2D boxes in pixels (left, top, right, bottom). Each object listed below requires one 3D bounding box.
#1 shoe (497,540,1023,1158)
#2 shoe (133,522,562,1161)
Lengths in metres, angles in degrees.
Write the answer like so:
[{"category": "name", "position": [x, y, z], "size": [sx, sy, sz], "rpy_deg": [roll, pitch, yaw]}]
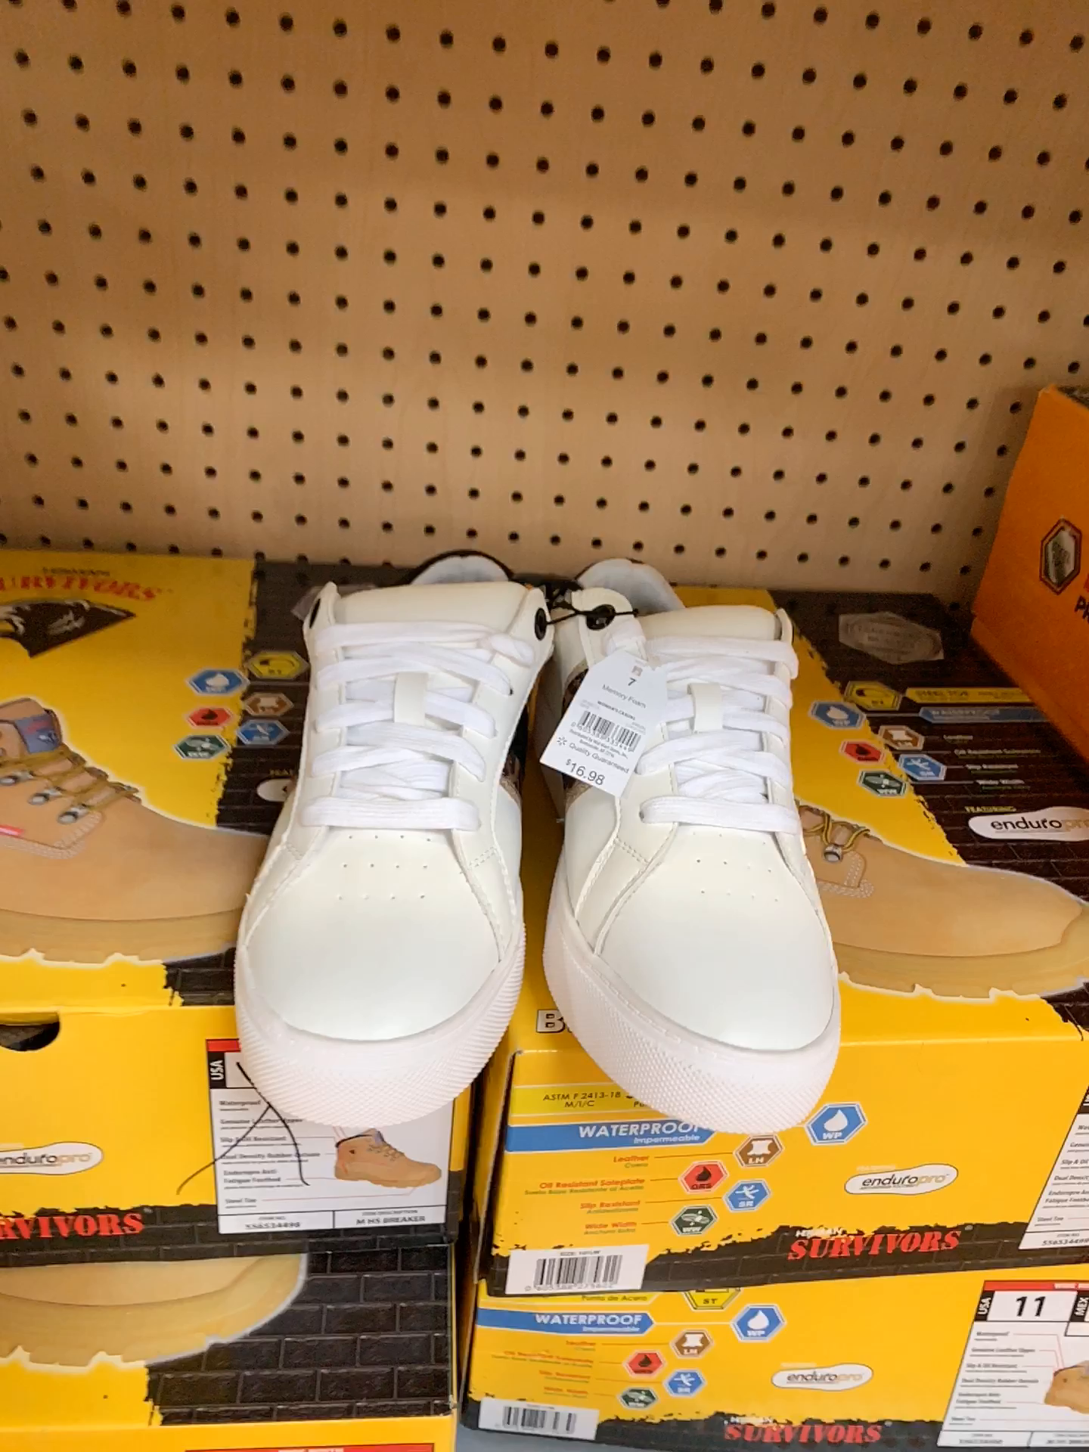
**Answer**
[{"category": "shoe", "position": [0.049, 0.023, 0.390], "size": [0.102, 0.070, 0.242], "rpy_deg": [4, 33, -11]}, {"category": "shoe", "position": [-0.047, 0.016, 0.386], "size": [0.100, 0.072, 0.246], "rpy_deg": [5, 33, -2]}]
